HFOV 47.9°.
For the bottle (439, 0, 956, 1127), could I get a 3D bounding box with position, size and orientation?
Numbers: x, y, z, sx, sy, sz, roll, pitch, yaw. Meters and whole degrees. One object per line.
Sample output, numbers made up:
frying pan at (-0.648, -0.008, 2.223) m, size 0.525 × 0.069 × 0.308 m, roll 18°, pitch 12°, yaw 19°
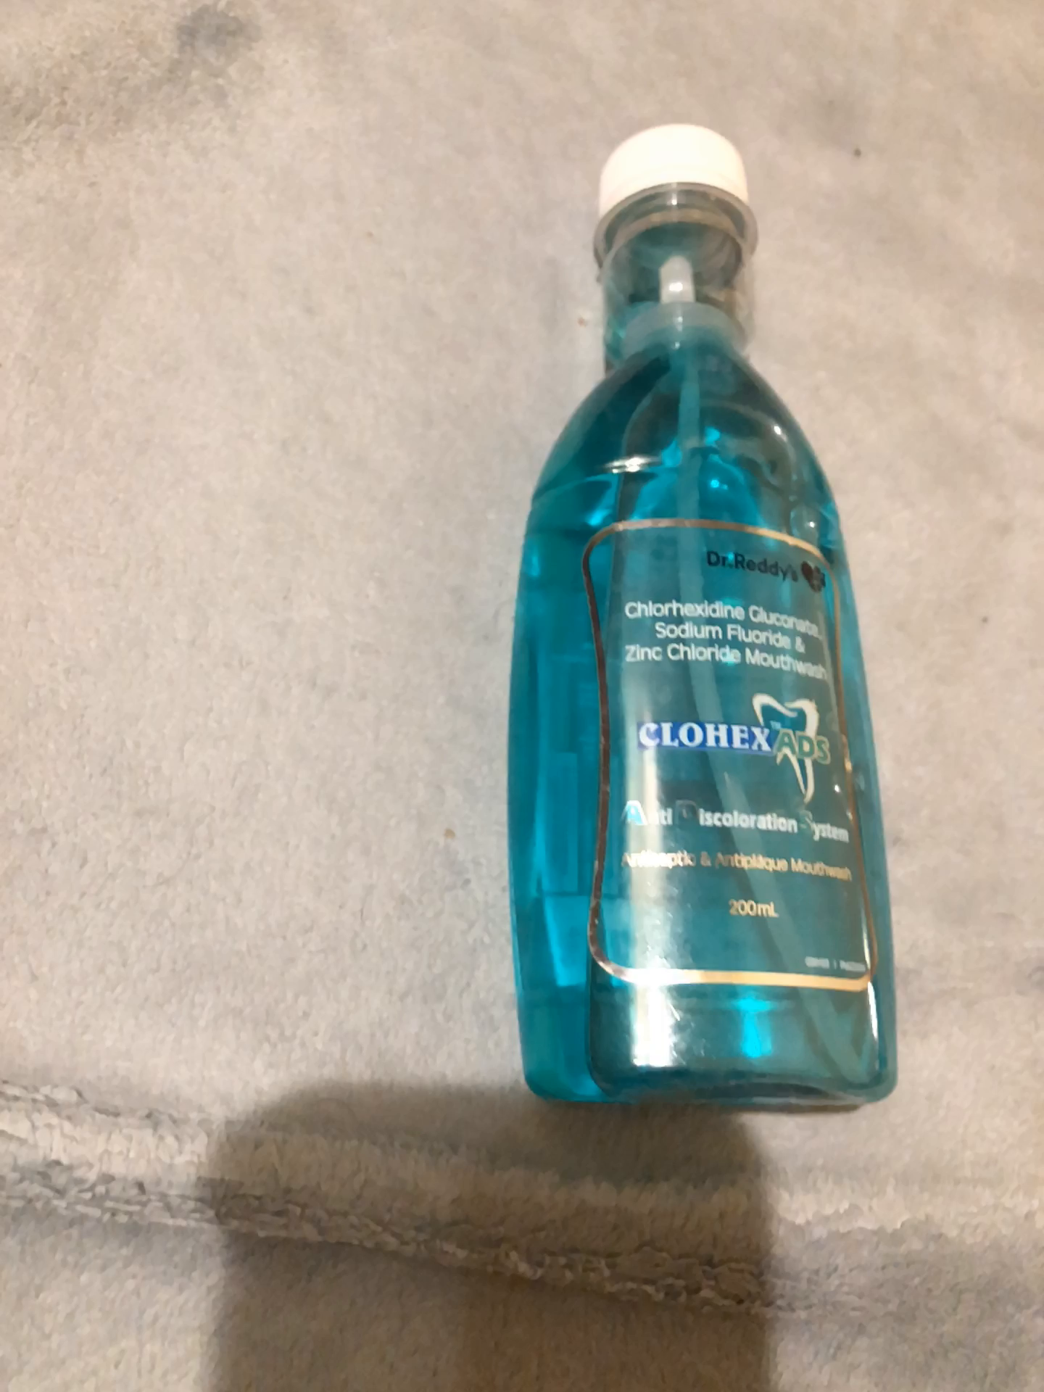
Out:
bottle at (0.025, -0.033, 0.218) m, size 0.070 × 0.040 × 0.210 m, roll 5°, pitch 71°, yaw -14°
